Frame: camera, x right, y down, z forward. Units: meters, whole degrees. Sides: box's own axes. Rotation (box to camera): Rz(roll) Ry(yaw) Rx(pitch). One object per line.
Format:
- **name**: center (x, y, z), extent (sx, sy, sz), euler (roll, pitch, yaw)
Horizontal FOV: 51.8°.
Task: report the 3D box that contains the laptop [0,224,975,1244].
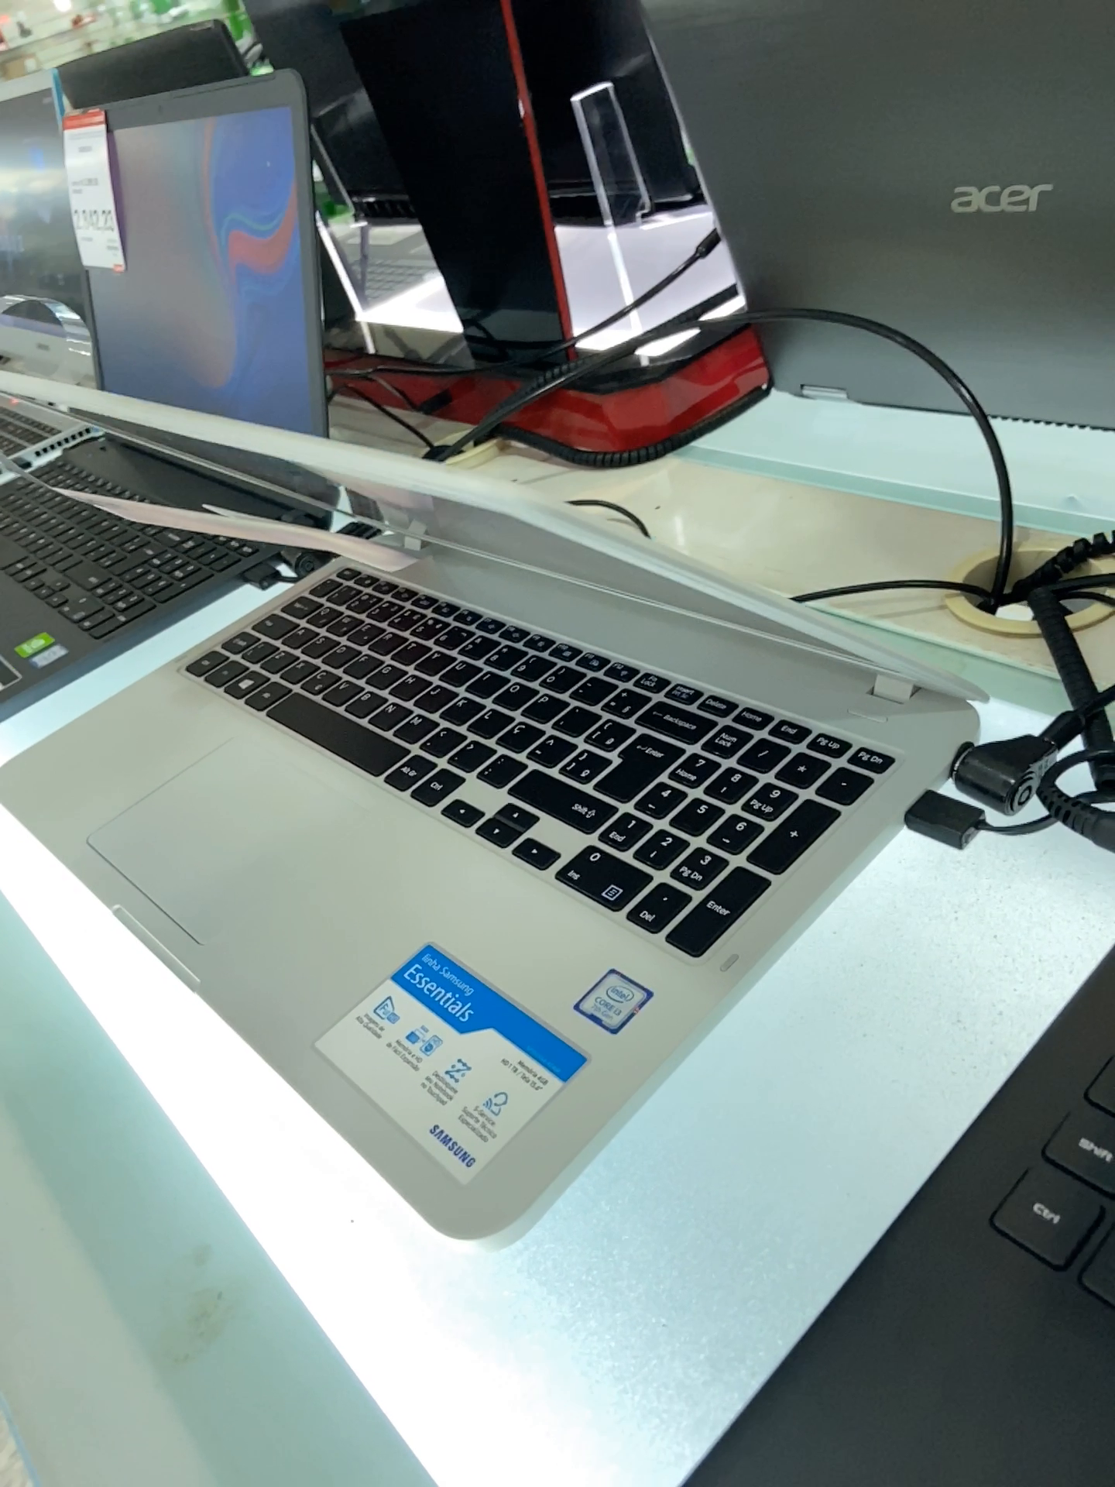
- **laptop**: center (-0.085, -0.057, 0.417), extent (0.232, 0.162, 0.368), euler (-39, 39, -26)
